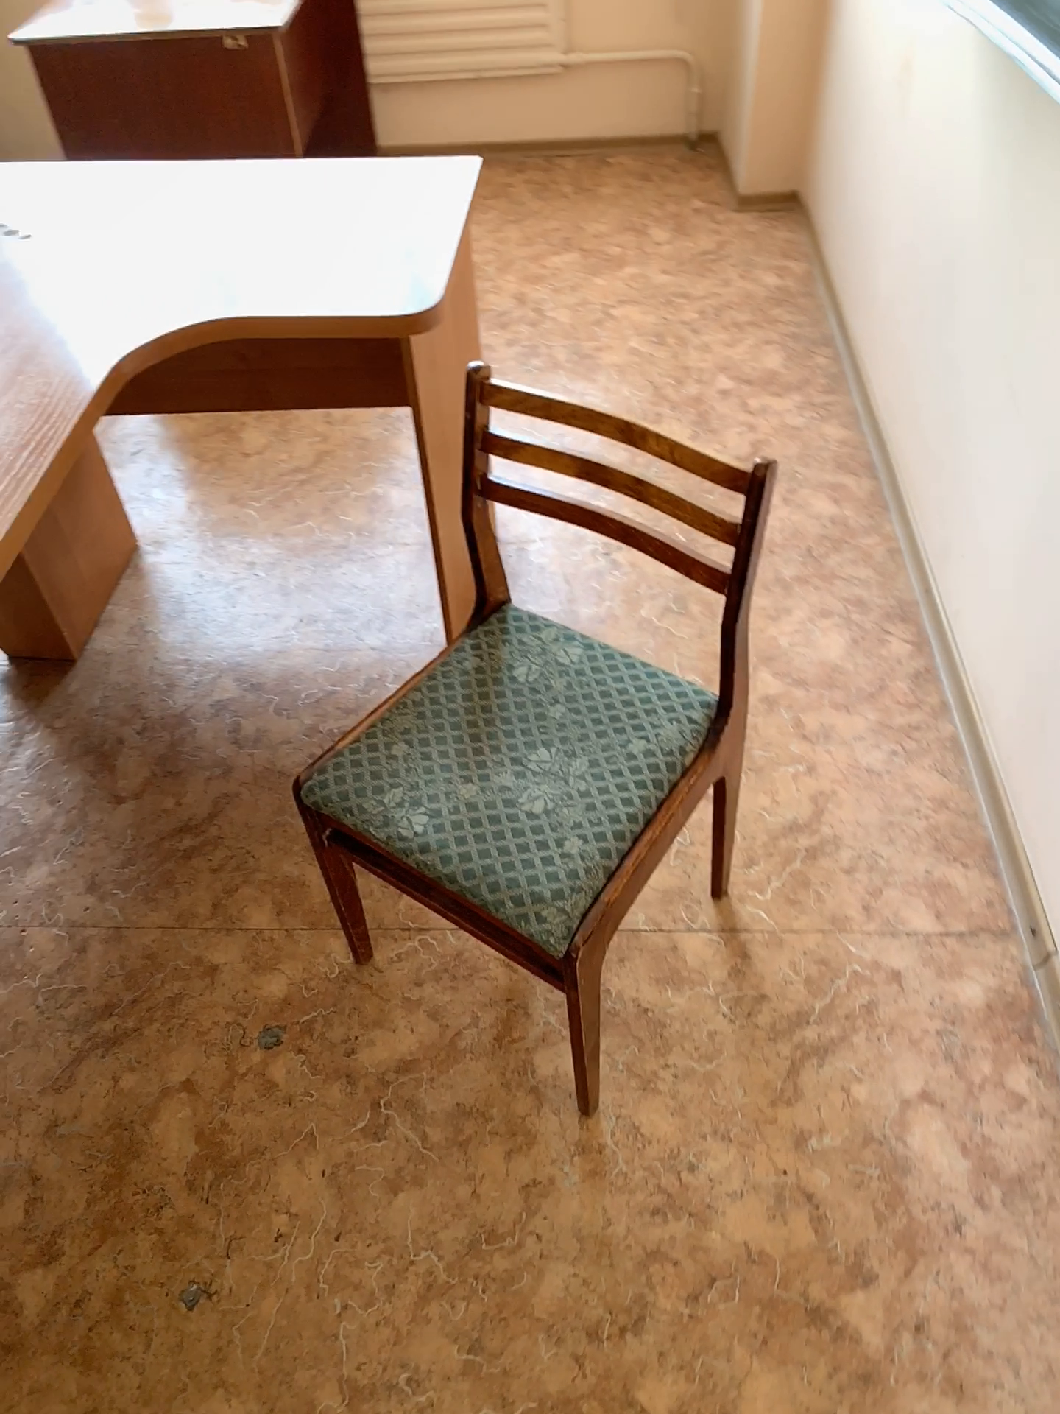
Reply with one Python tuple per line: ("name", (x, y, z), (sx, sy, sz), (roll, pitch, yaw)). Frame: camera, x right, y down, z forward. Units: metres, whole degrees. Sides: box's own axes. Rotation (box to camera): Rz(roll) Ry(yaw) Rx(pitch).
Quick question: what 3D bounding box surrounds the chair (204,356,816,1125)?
("chair", (0.006, 0.061, 1.242), (0.401, 0.704, 0.403), (26, 54, 25))
